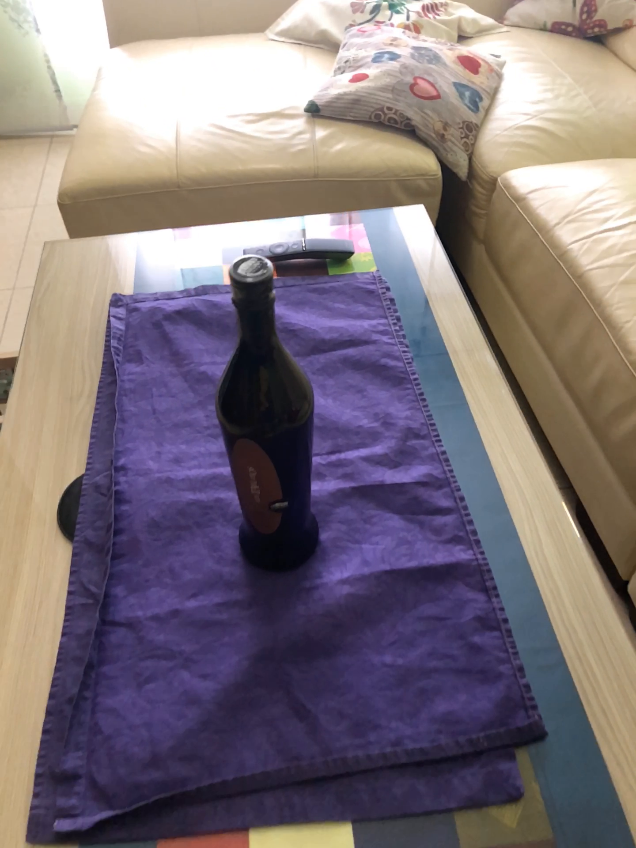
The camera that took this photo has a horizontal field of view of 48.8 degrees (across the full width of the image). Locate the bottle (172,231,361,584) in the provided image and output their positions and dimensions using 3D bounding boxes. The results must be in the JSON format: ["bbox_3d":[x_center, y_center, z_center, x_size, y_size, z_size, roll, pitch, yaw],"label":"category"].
[{"bbox_3d":[-0.027,0.001,0.560,0.100,0.279,0.100,-1,46,1],"label":"bottle"}]
